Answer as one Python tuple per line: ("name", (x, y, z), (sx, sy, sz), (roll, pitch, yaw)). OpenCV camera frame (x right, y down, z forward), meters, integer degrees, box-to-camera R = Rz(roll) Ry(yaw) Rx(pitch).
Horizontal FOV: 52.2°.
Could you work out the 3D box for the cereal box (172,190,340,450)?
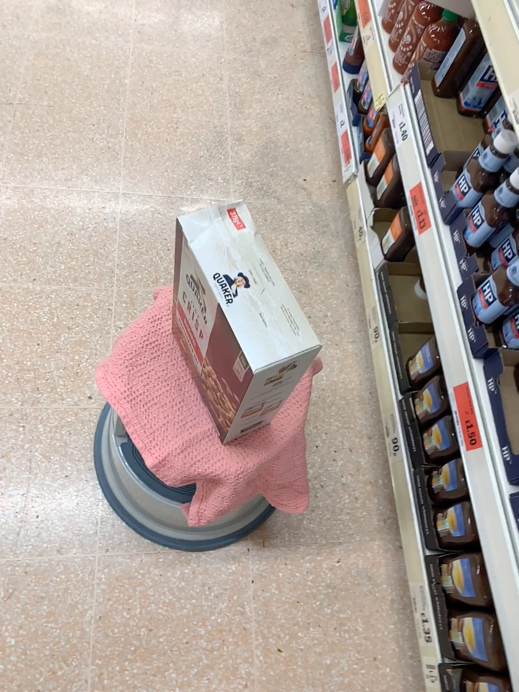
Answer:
("cereal box", (-0.025, -0.012, 0.630), (0.090, 0.269, 0.191), (-21, 70, -17))
